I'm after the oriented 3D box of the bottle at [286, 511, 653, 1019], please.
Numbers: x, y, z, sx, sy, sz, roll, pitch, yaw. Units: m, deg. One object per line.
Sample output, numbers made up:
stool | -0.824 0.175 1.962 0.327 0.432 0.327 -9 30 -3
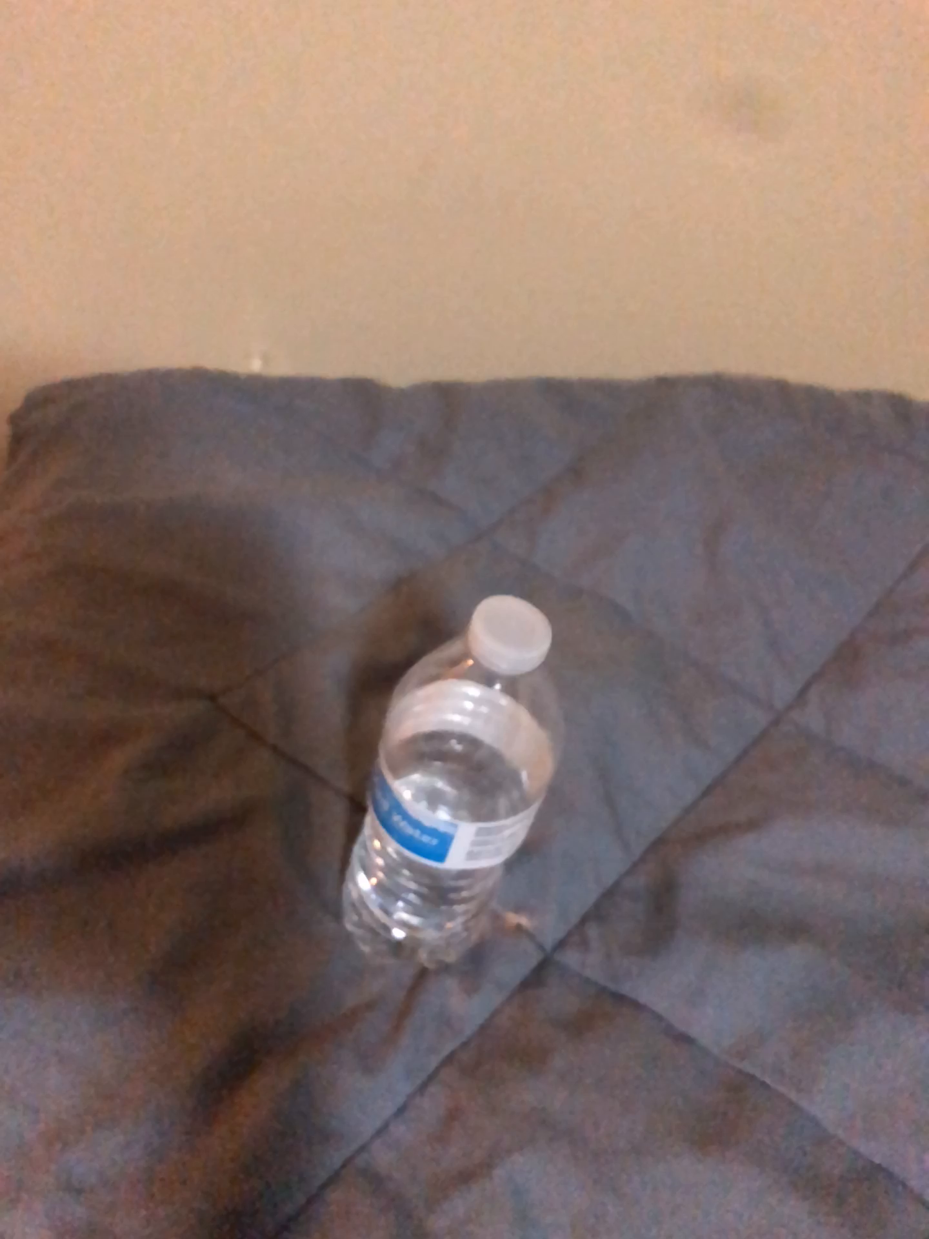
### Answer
bottle | -0.010 0.063 0.409 0.080 0.190 0.080 8 43 -8
